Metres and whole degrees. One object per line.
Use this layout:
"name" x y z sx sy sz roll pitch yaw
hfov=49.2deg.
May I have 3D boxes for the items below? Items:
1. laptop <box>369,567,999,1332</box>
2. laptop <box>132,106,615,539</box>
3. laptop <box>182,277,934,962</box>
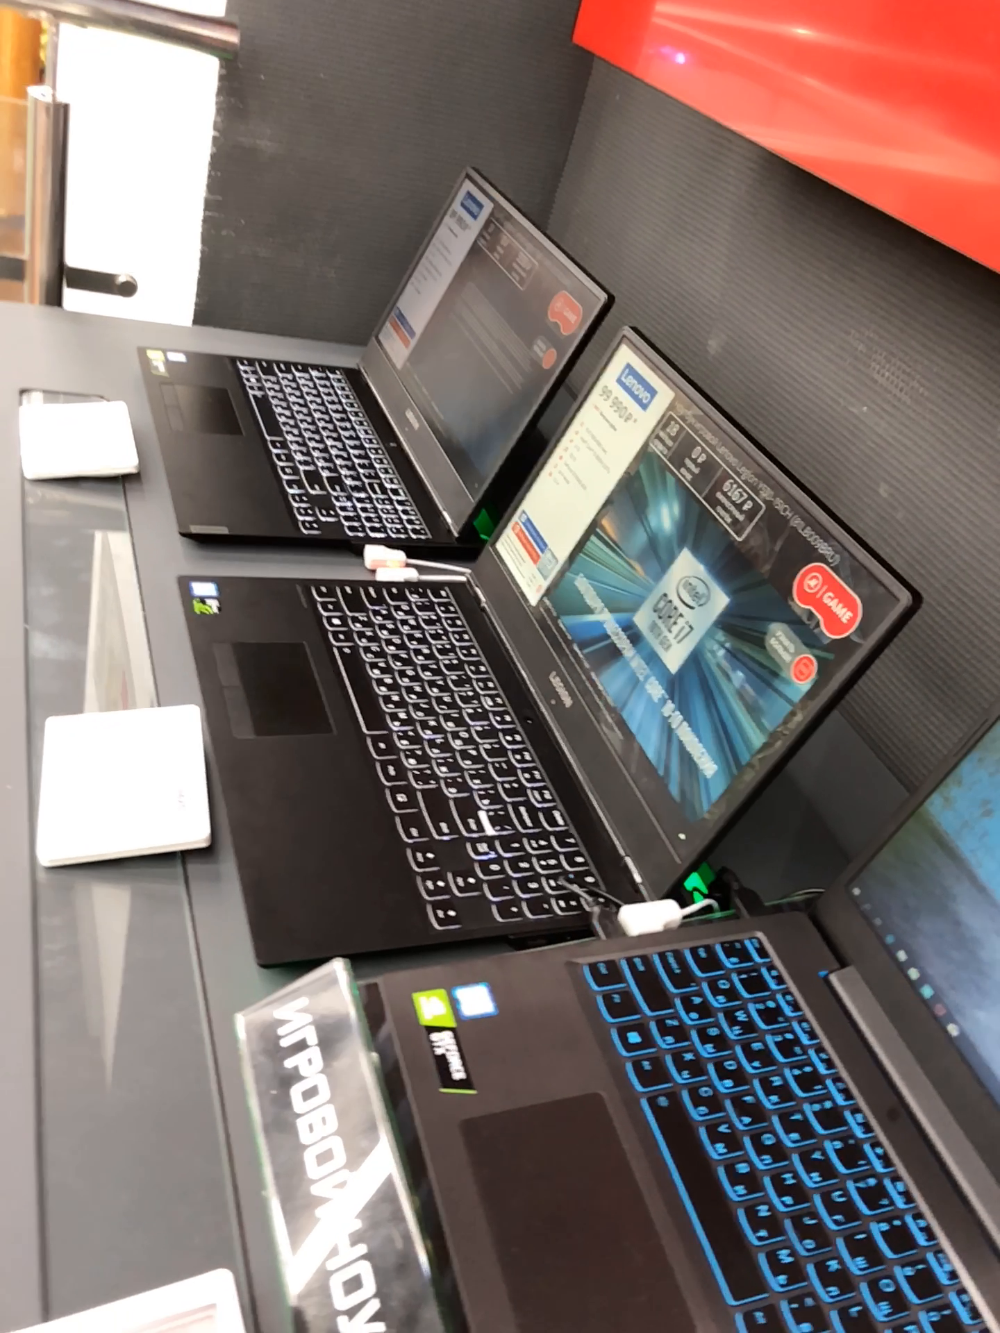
"laptop" 0.178 0.160 0.394 0.334 0.225 0.356 -2 38 -20
"laptop" -0.139 -0.308 0.983 0.315 0.223 0.355 -2 39 -26
"laptop" -0.009 -0.051 0.678 0.301 0.225 0.354 -1 38 -24
